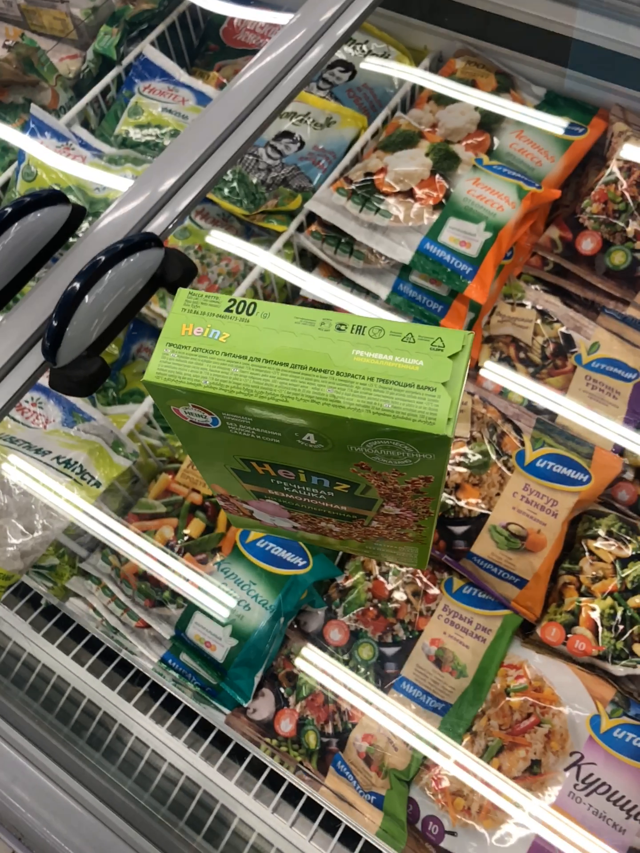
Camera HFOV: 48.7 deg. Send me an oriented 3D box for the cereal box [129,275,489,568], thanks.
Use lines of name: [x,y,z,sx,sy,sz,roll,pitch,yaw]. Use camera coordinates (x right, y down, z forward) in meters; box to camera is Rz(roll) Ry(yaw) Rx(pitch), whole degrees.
cereal box: [0.003,0.010,0.374,0.140,0.189,0.050,11,65,11]
